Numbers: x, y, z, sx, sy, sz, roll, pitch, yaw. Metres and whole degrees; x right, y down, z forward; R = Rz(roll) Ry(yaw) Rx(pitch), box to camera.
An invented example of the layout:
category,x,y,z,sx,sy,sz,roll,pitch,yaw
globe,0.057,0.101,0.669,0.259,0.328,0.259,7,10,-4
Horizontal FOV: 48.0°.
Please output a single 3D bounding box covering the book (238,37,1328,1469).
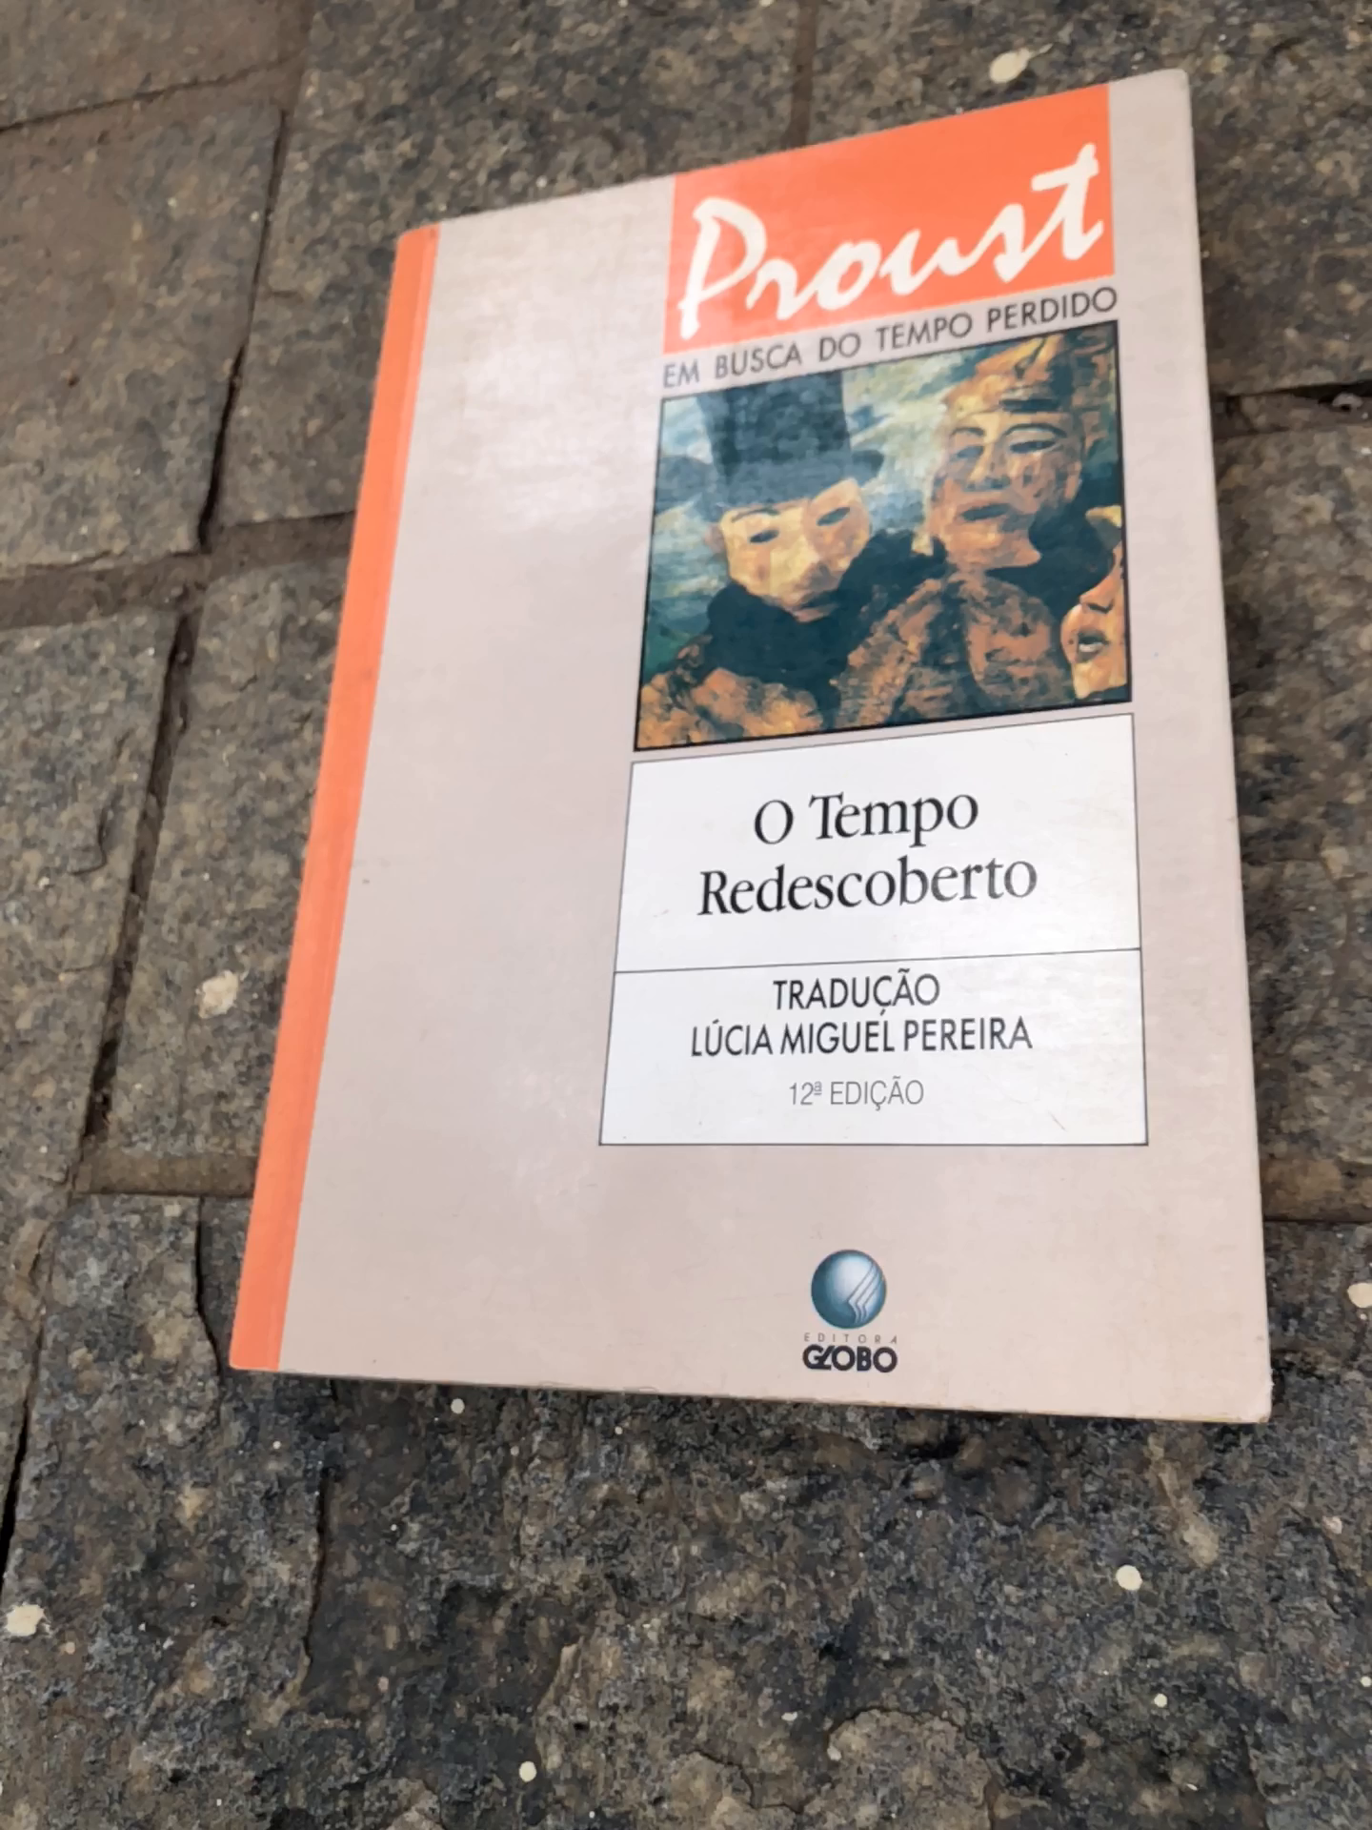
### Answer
category,x,y,z,sx,sy,sz,roll,pitch,yaw
book,0.013,-0.029,0.226,0.134,0.023,0.199,-3,70,18
